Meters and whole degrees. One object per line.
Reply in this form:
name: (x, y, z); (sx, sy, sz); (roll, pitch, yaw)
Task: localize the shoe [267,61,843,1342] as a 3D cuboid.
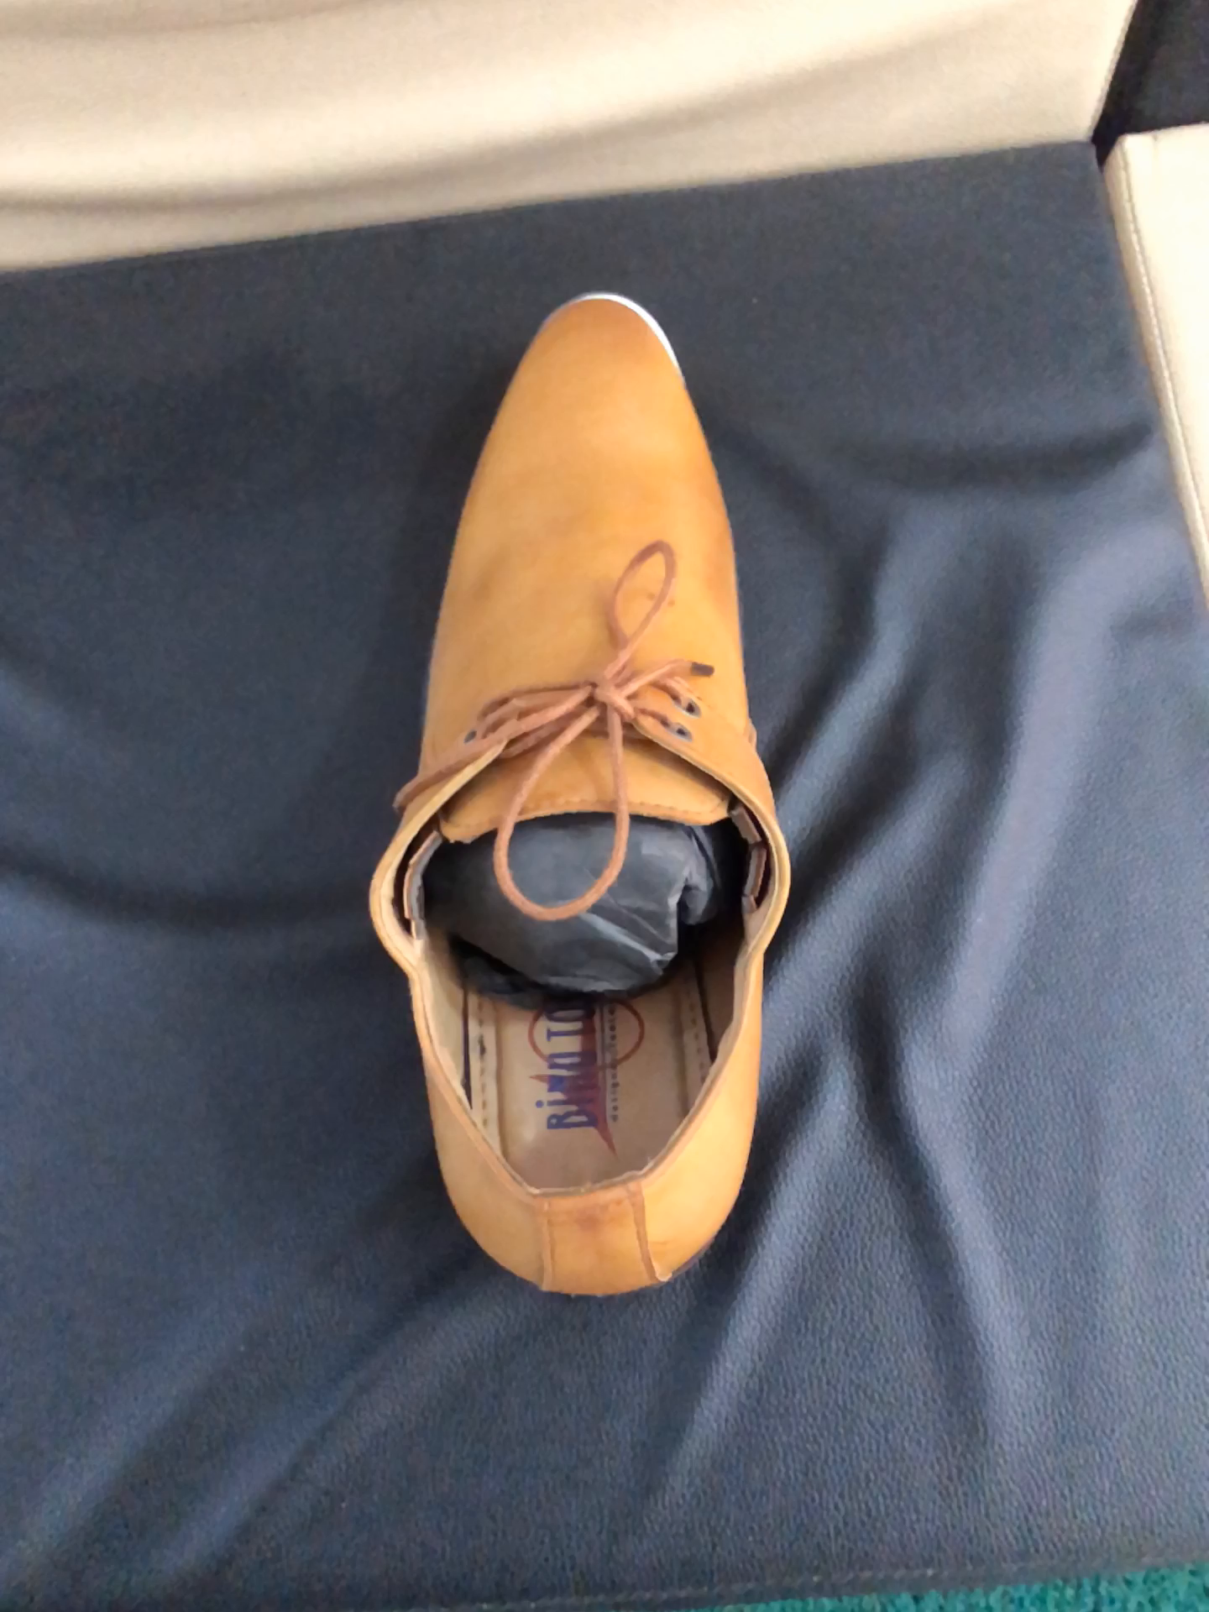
shoe: (-0.008, -0.028, 0.347); (0.110, 0.100, 0.300); (-2, 73, 4)
